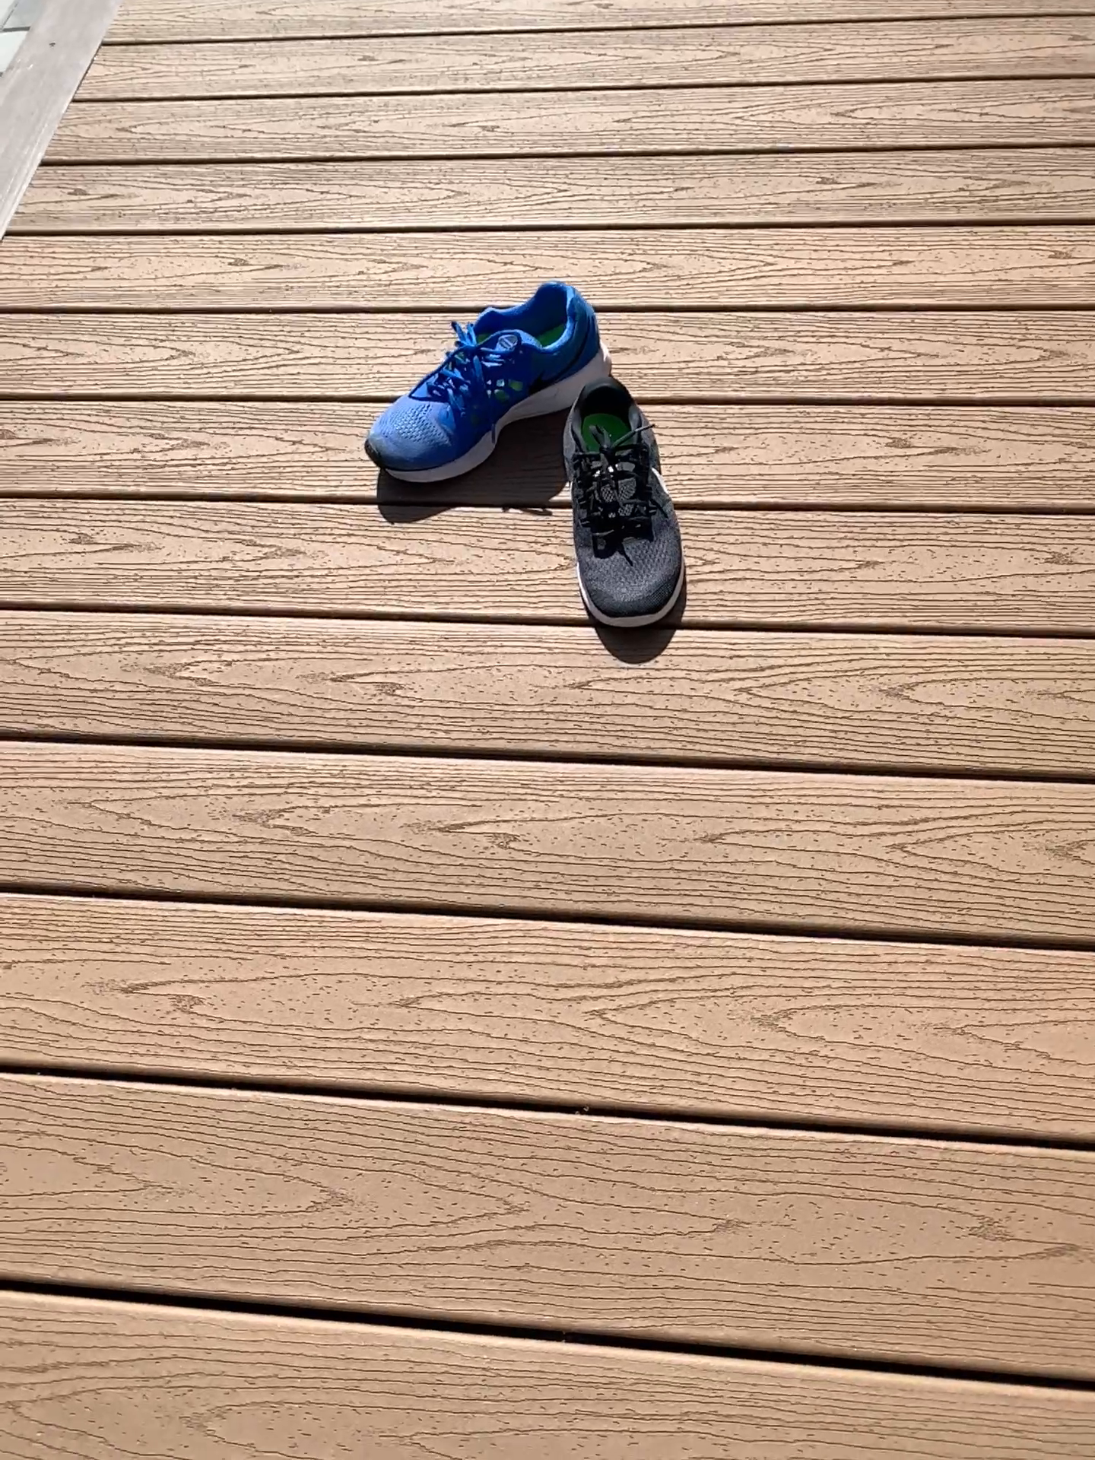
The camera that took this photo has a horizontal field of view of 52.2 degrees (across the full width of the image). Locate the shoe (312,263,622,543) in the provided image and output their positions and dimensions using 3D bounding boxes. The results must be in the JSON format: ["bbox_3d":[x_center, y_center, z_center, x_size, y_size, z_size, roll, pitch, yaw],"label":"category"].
[{"bbox_3d":[-0.076,-0.344,1.172,0.290,0.130,0.120,-32,61,-14],"label":"shoe"}]

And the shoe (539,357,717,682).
[{"bbox_3d":[0.071,-0.203,1.056,0.120,0.110,0.291,-8,58,0],"label":"shoe"}]
